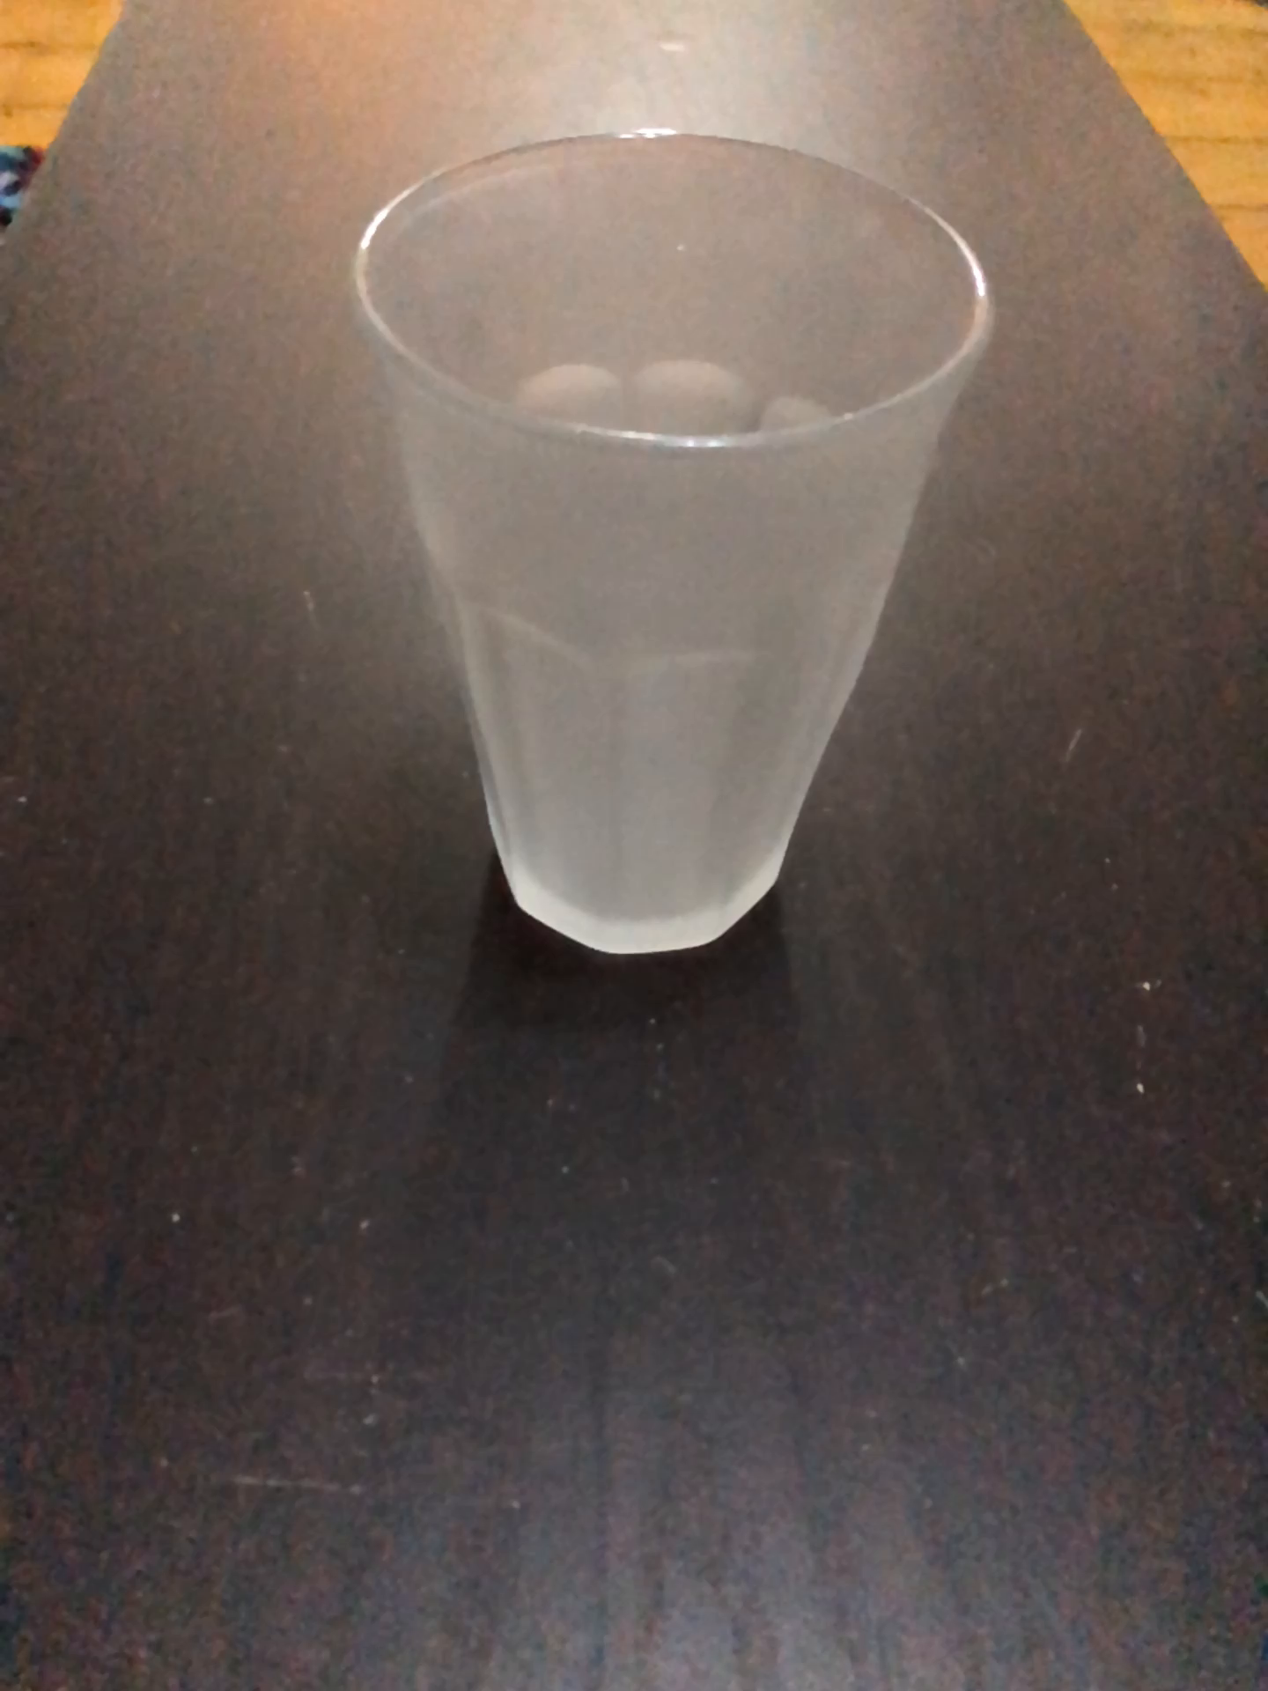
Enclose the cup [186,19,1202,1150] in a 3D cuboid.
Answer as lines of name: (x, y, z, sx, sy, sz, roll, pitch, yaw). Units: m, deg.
cup: (0.007, -0.042, 0.232, 0.090, 0.129, 0.100, 37, 56, 26)
